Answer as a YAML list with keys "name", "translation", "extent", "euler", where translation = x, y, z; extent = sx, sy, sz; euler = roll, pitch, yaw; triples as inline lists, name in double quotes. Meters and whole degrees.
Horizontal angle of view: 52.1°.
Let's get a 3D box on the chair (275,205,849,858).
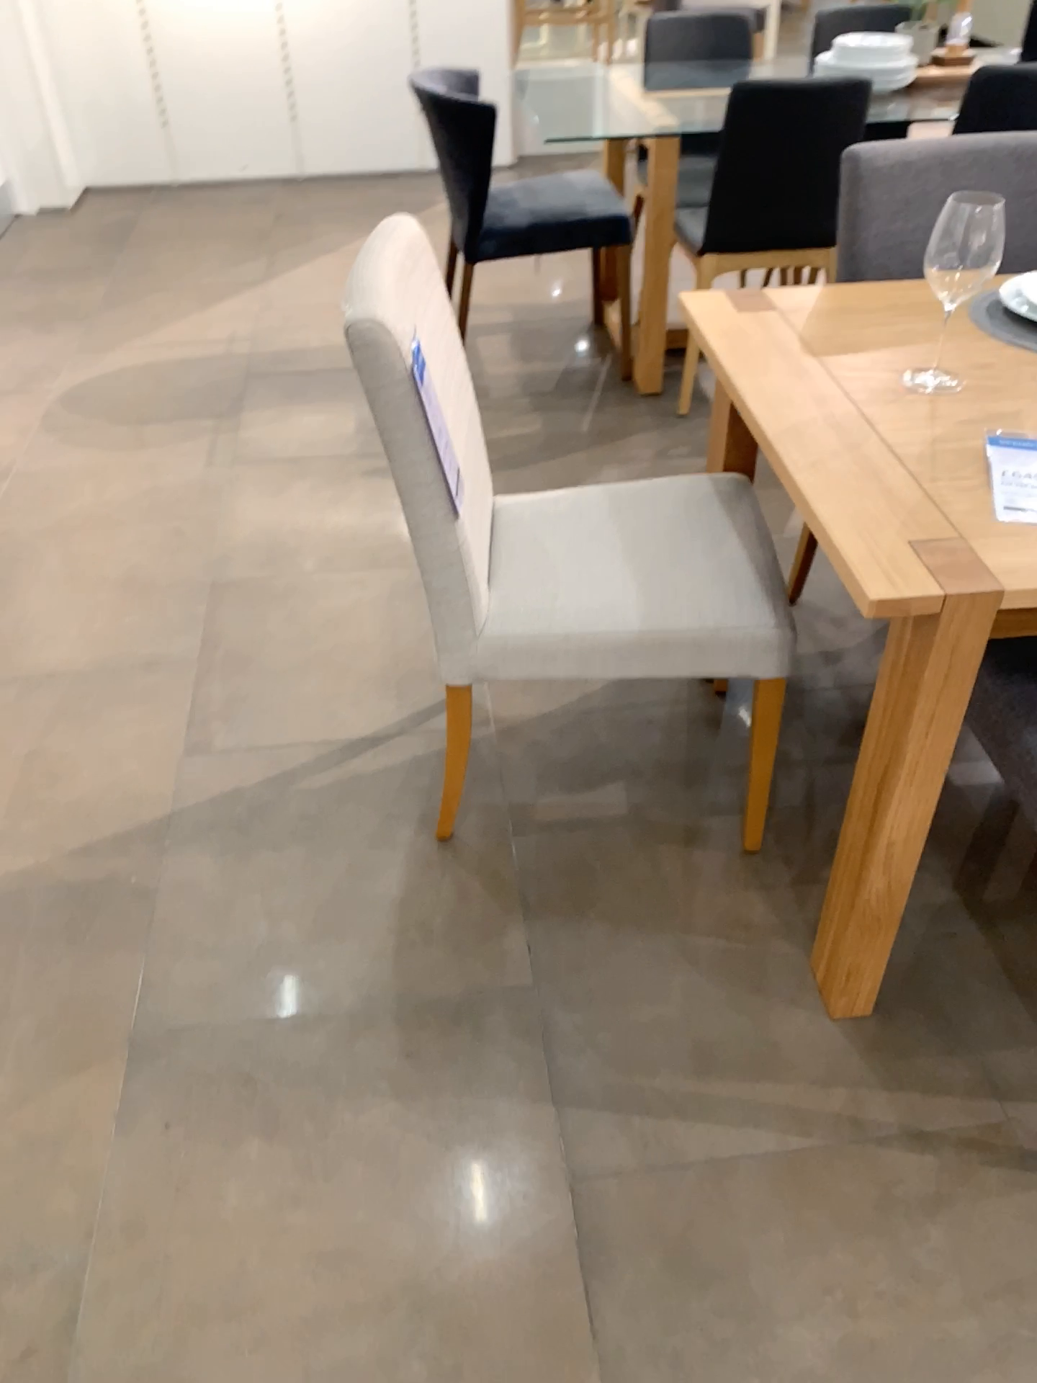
- name: "chair"
  translation: [0.059, -0.239, 1.660]
  extent: [0.642, 0.838, 0.541]
  euler: [1, 39, 2]
